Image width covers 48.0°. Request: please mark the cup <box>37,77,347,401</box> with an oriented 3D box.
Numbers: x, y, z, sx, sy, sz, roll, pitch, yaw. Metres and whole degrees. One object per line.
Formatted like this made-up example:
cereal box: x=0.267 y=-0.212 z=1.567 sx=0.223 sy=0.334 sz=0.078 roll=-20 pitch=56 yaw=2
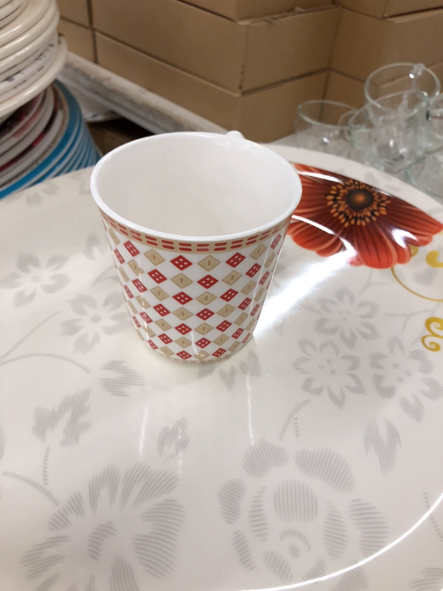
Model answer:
cup: x=-0.006 y=-0.034 z=0.232 sx=0.080 sy=0.079 sz=0.121 roll=21 pitch=45 yaw=16
